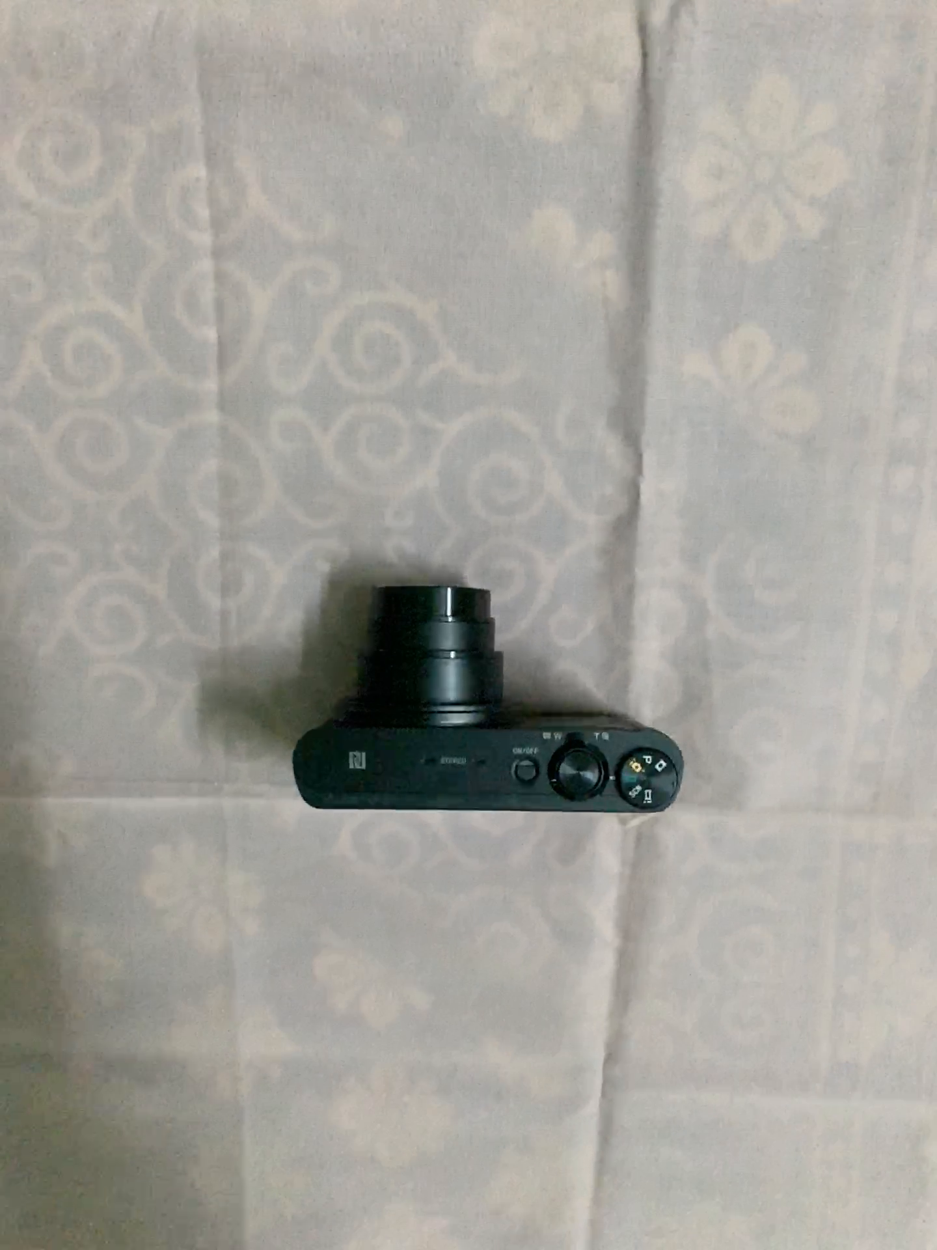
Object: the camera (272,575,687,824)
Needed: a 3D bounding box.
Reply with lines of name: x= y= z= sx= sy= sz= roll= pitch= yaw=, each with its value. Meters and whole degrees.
camera: x=0.003 y=0.017 z=0.267 sx=0.100 sy=0.060 sz=0.058 roll=0 pitch=95 yaw=1
